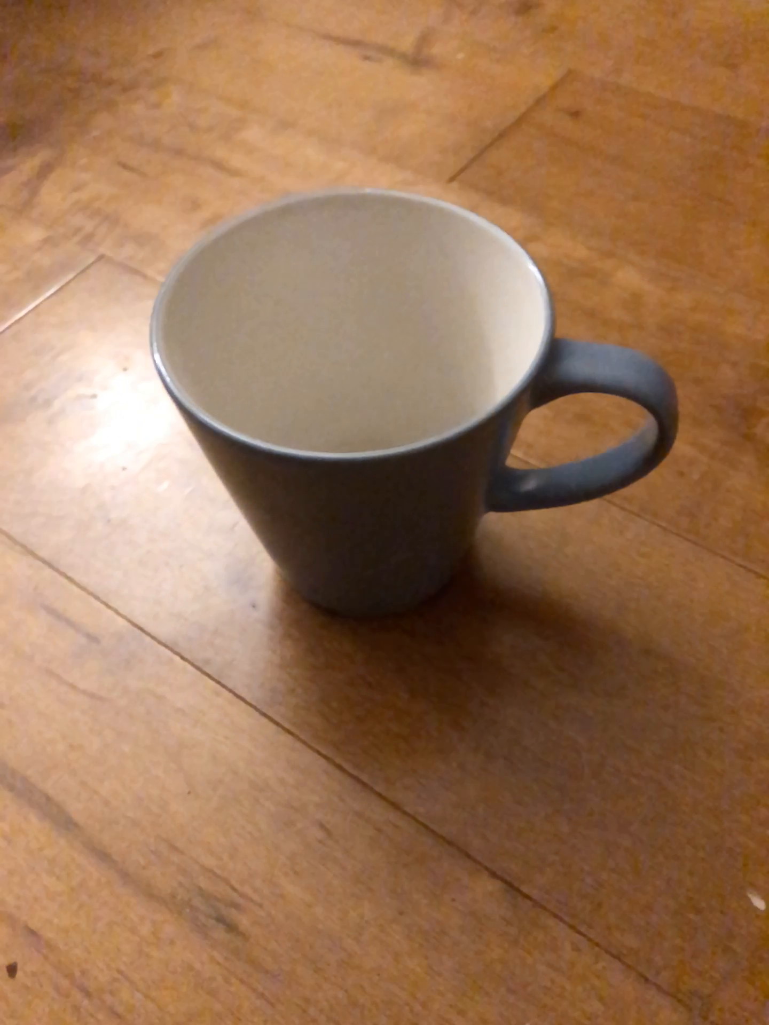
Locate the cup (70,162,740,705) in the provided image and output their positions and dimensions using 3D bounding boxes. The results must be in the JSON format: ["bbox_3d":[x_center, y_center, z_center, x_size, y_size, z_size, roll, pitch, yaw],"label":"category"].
[{"bbox_3d":[0.011,-0.022,0.246,0.140,0.099,0.100,7,54,8],"label":"cup"}]
